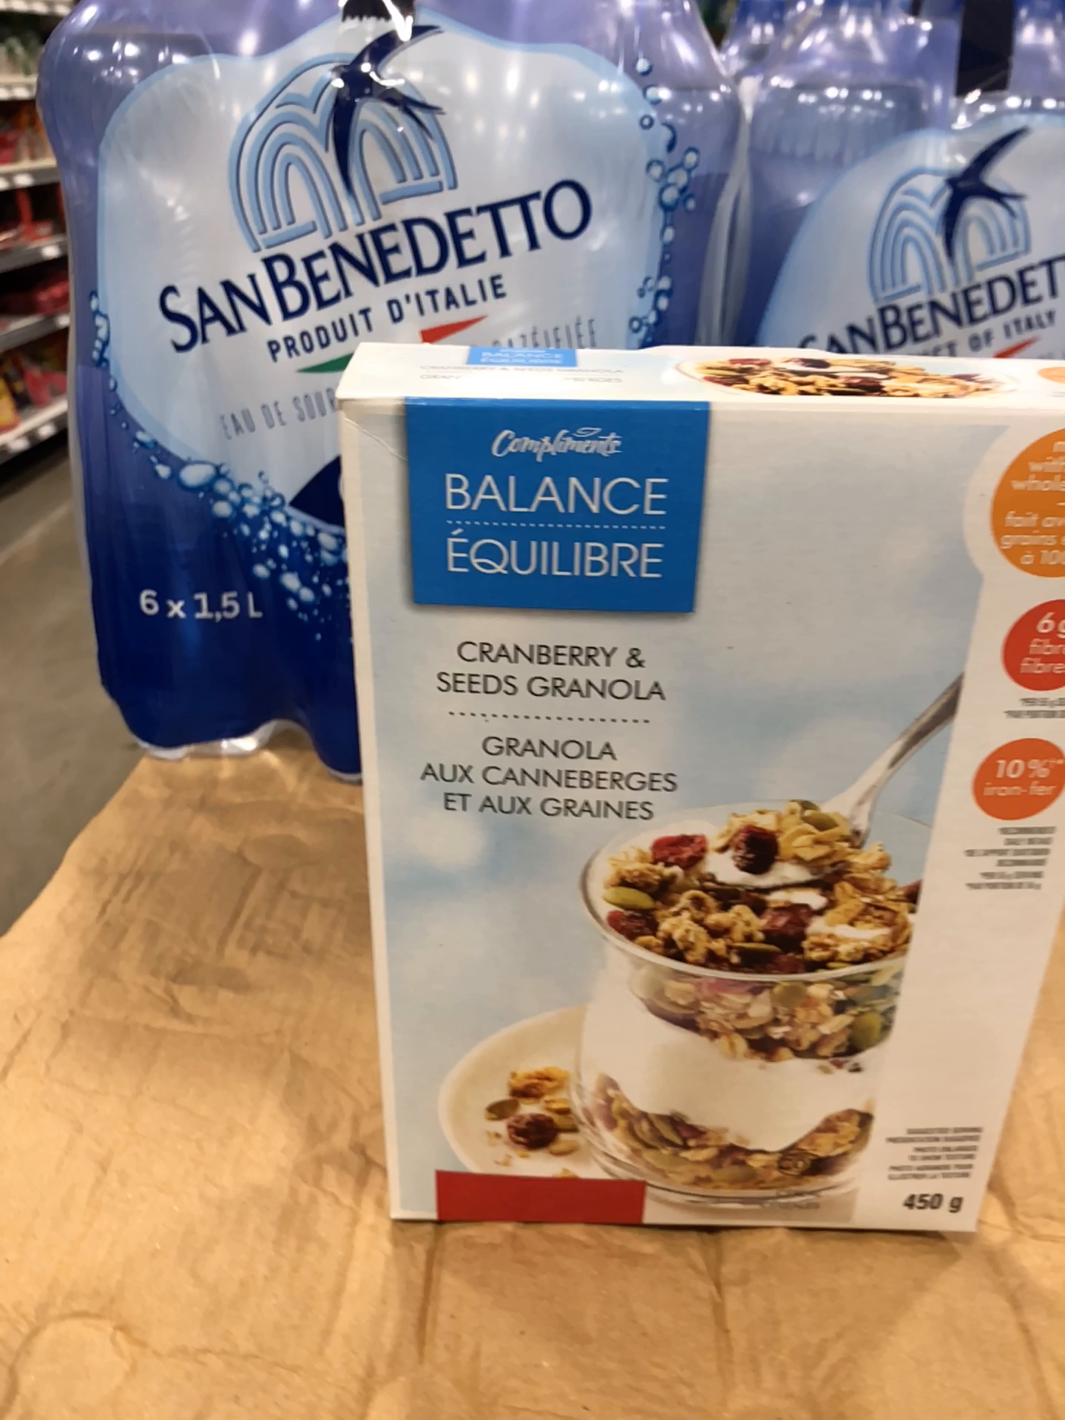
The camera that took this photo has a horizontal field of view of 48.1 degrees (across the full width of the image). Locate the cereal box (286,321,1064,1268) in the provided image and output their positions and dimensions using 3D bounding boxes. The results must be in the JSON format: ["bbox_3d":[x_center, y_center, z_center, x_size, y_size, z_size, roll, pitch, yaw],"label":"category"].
[{"bbox_3d":[0.046,0.031,0.285,0.180,0.229,0.050,1,27,2],"label":"cereal box"}]
